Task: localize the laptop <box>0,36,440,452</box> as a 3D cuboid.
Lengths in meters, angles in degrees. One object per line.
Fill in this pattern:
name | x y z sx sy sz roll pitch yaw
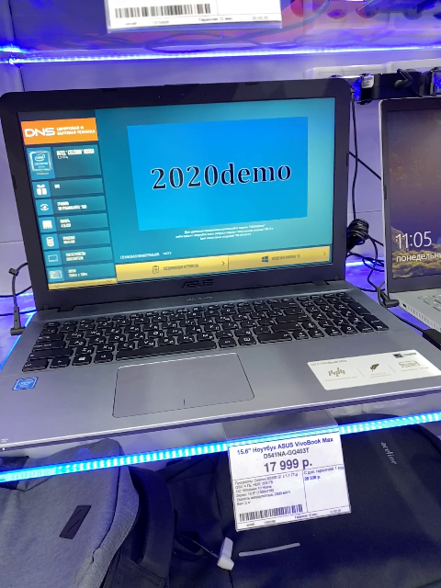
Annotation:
laptop | -0.014 -0.069 0.407 0.372 0.232 0.263 -6 20 -7
